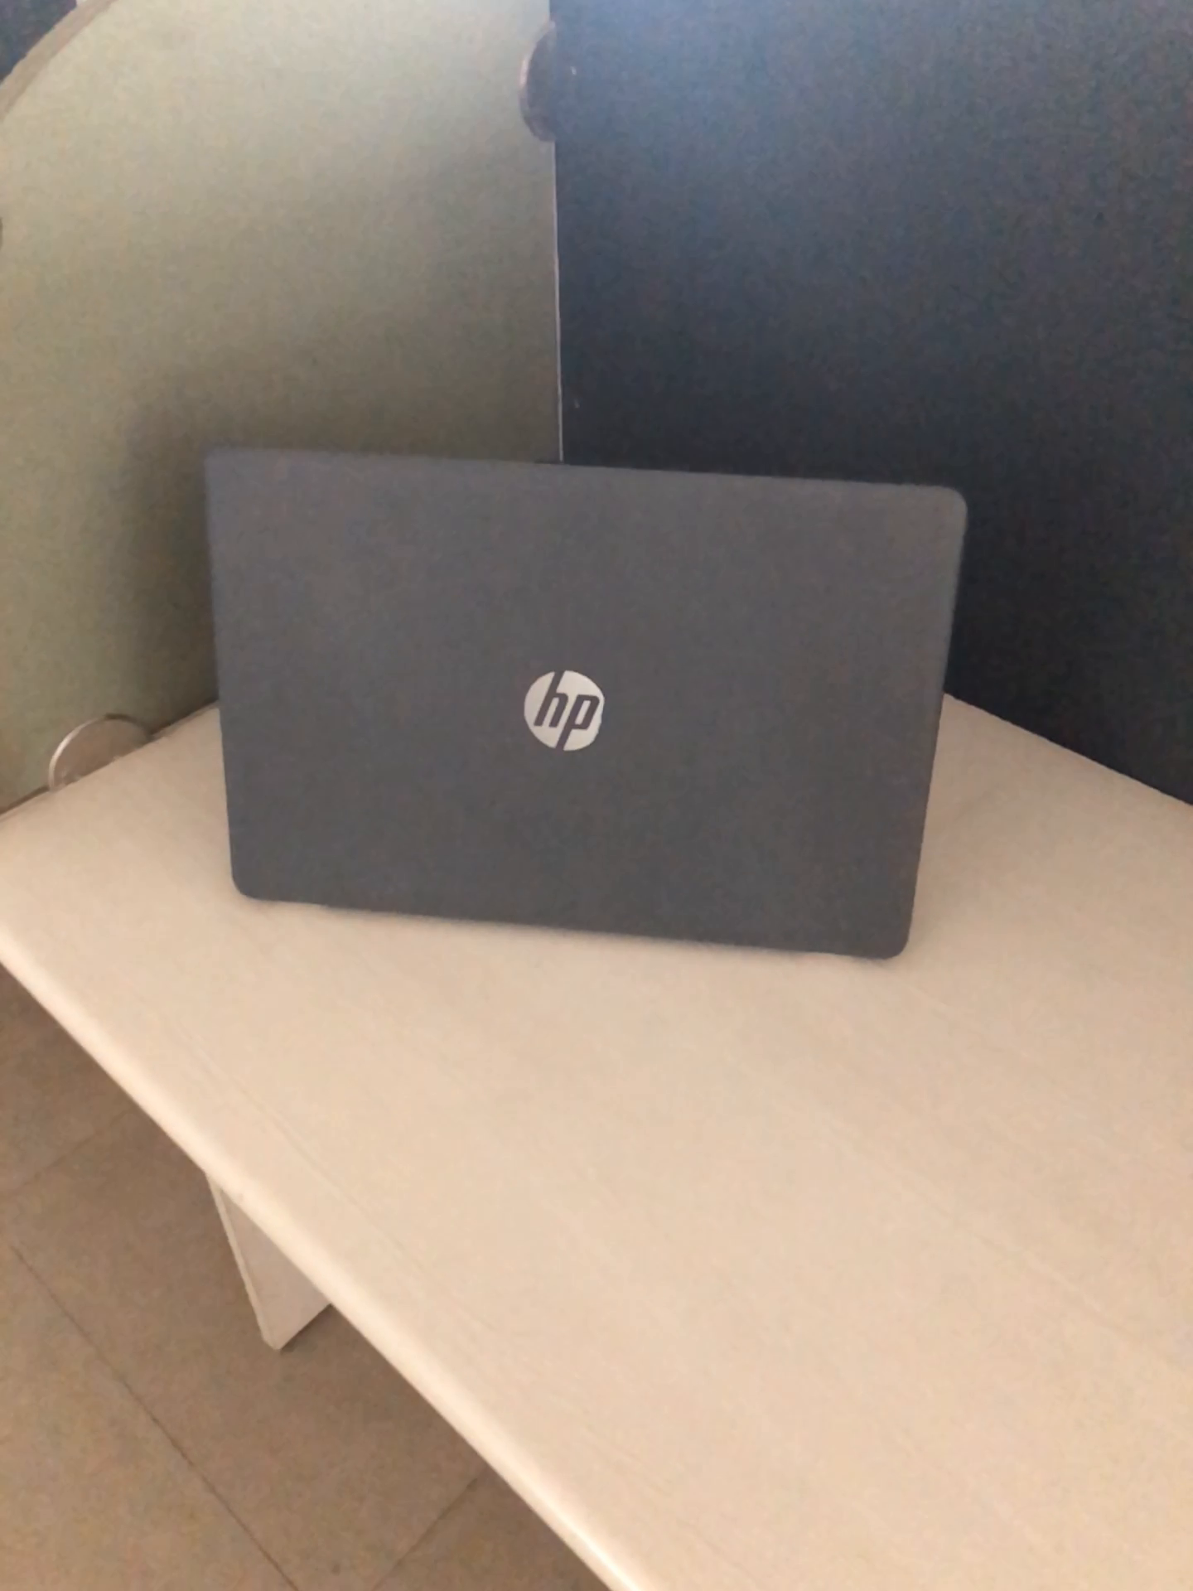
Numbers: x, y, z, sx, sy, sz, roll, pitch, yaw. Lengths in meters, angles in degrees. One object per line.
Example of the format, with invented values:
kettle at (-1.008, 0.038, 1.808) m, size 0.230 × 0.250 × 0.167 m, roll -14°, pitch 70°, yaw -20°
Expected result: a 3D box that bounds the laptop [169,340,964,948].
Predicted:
laptop at (-0.002, -0.095, 0.740) m, size 0.359 × 0.215 × 0.239 m, roll 5°, pitch 42°, yaw 8°
